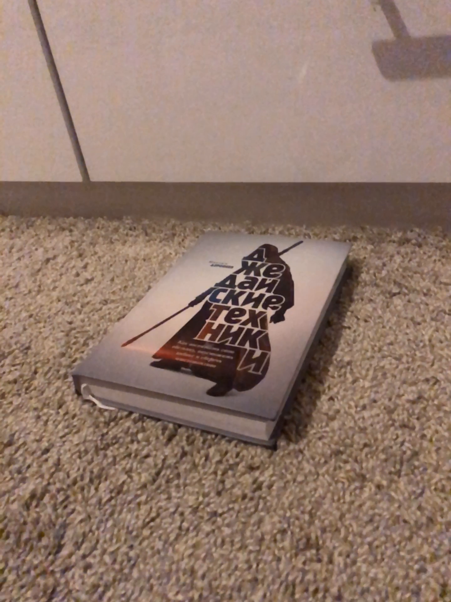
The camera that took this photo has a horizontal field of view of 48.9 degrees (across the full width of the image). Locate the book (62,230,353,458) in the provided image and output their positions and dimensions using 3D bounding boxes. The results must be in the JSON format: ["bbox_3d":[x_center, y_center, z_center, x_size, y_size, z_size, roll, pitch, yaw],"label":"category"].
[{"bbox_3d":[0.003,0.010,0.394,0.150,0.026,0.222,8,37,23],"label":"book"}]
